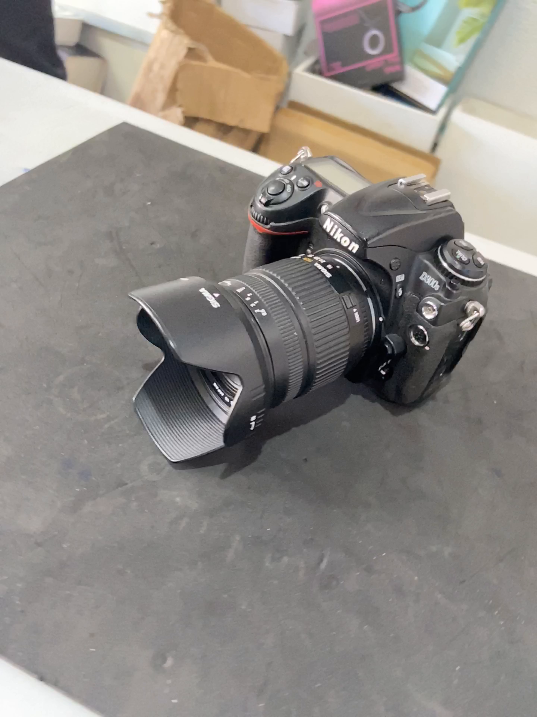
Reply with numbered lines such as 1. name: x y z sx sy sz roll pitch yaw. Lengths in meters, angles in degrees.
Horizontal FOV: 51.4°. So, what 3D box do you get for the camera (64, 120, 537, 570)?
1. camera: 0.018 -0.029 0.294 0.181 0.109 0.170 -20 52 -31
